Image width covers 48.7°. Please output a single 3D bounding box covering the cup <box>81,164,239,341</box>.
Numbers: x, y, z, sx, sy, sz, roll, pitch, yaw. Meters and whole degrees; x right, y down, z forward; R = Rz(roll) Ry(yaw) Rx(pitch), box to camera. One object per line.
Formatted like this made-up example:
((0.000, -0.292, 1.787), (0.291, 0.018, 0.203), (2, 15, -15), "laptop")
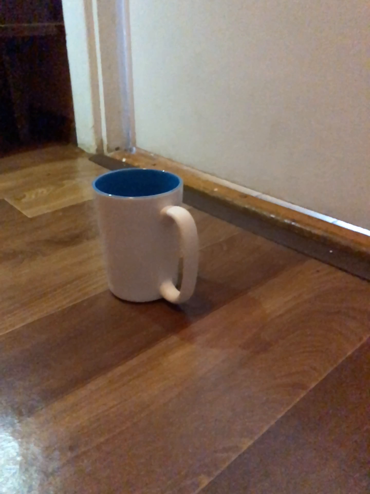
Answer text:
((-0.027, -0.004, 0.404), (0.088, 0.112, 0.130), (-20, 34, -33), "cup")
